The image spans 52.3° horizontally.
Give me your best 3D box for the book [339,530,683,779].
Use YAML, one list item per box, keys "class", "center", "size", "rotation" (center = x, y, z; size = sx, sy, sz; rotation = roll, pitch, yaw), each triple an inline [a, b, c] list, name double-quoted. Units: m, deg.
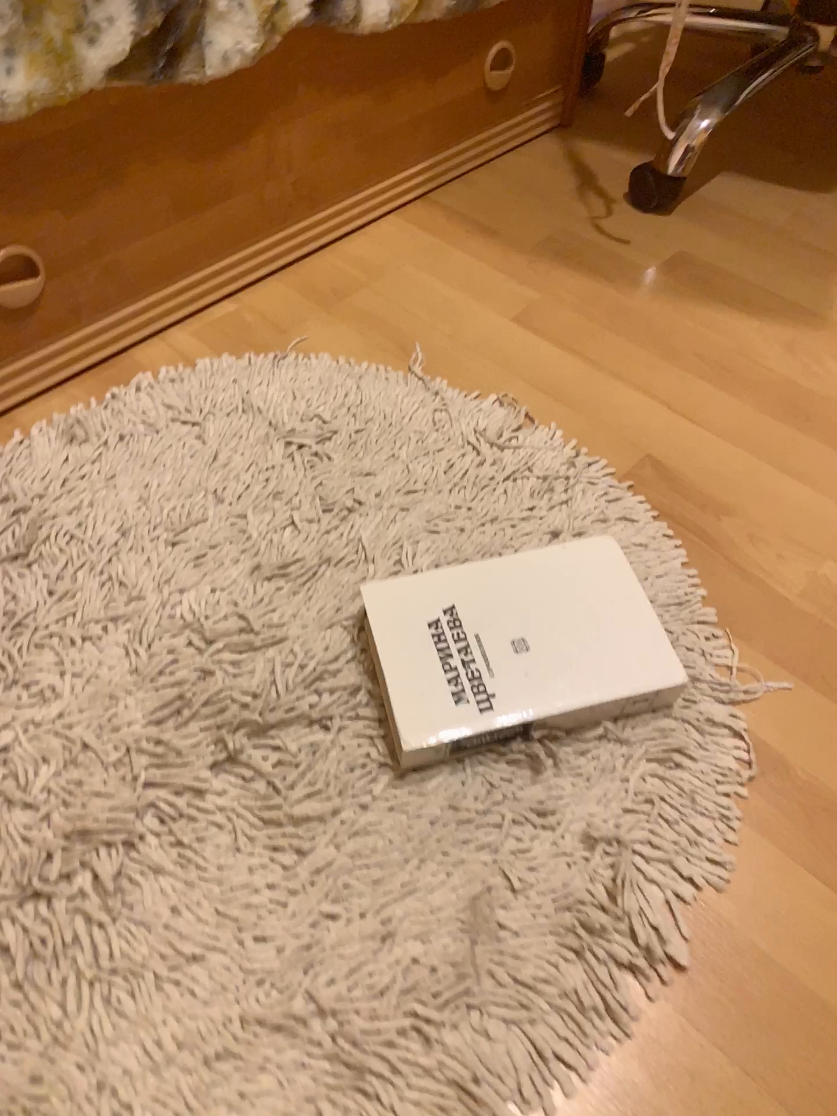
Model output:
- class: "book"
  center: [0.060, 0.062, 0.614]
  size: [0.208, 0.040, 0.141]
  rotation: [-10, 52, -12]
